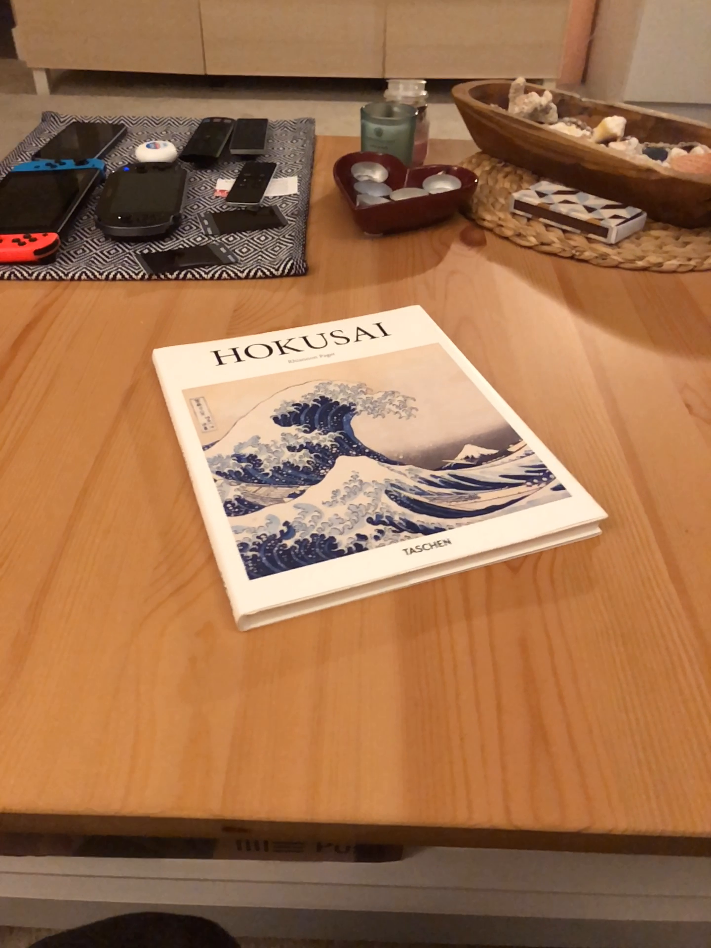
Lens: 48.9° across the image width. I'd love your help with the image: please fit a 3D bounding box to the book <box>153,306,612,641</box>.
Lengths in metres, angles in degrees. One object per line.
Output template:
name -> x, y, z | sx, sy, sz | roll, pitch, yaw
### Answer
book -> -0.001, -0.025, 0.497 | 0.210, 0.020, 0.253 | -12, 42, -16
